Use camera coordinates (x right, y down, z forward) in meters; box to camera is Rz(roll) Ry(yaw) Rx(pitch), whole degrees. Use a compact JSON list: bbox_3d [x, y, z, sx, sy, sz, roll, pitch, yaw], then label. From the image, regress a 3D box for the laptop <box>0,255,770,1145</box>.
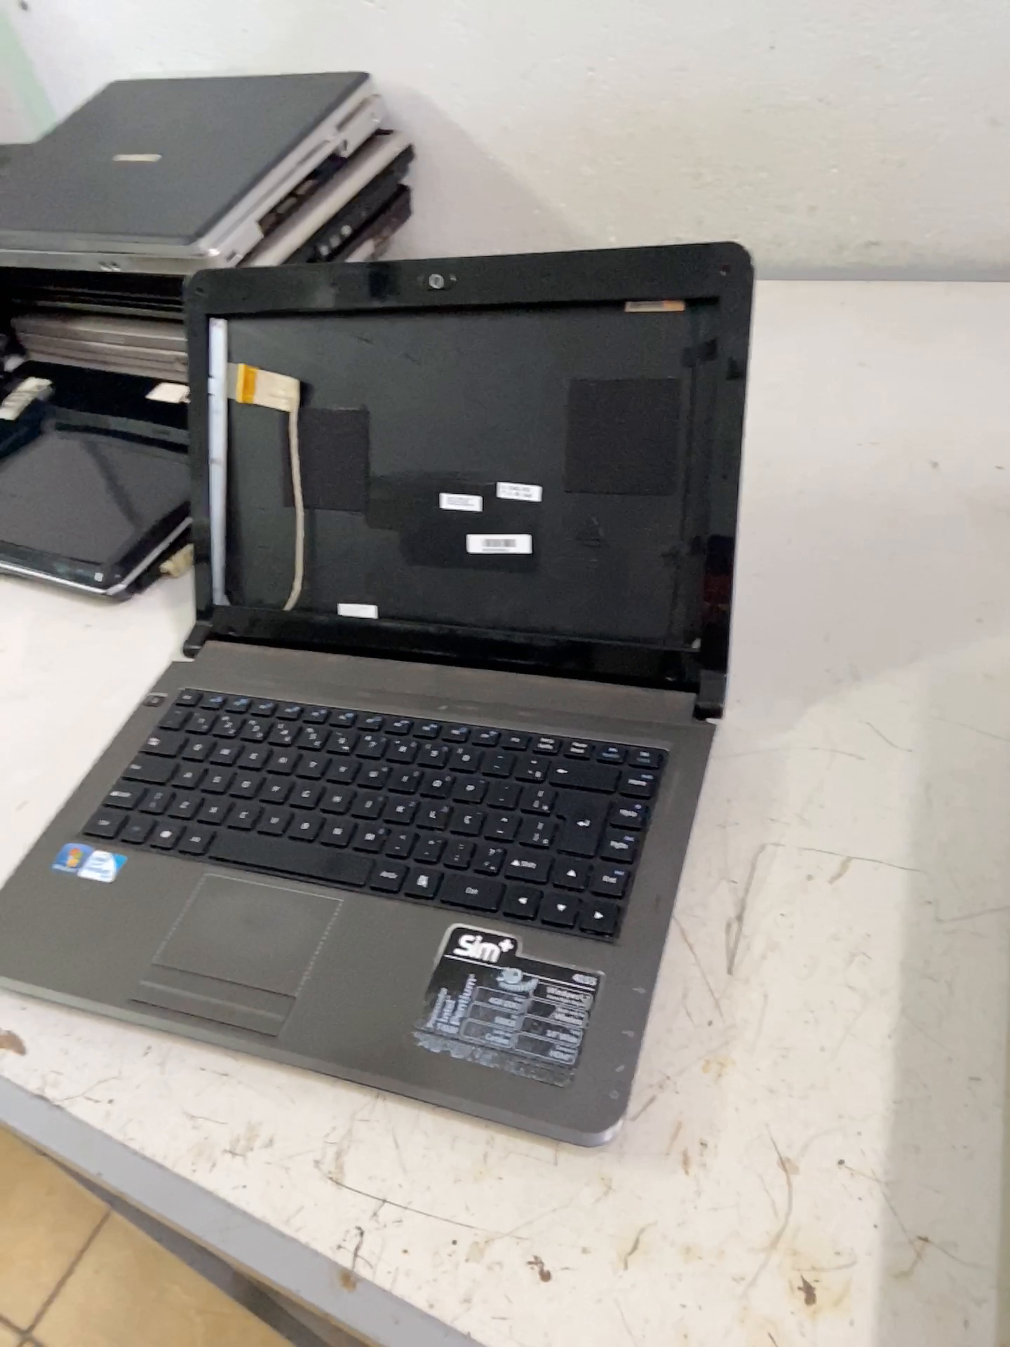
[{"bbox_3d":[-0.076,-0.028,0.512,0.343,0.174,0.366,6,48,22],"label":"laptop"}]
